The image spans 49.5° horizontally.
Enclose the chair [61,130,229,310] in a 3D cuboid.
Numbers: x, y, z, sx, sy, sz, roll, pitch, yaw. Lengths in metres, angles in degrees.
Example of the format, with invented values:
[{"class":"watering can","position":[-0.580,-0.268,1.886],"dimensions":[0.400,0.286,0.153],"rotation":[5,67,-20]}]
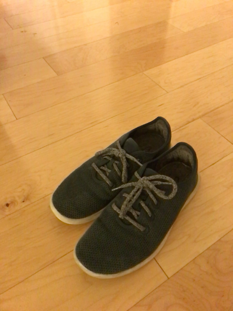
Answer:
[{"class":"chair","position":[0.062,0.093,0.450],"dimensions":[0.110,0.099,0.301],"rotation":[35,58,26]}]

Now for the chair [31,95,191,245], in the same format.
[{"class":"chair","position":[0.004,0.014,0.507],"dimensions":[0.100,0.099,0.321],"rotation":[40,60,19]}]
